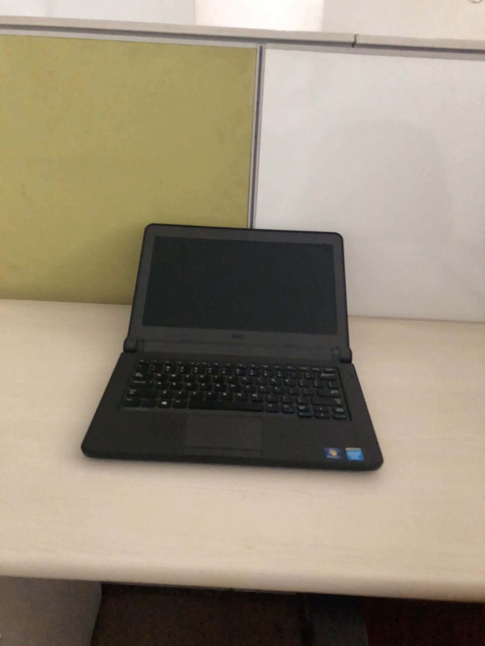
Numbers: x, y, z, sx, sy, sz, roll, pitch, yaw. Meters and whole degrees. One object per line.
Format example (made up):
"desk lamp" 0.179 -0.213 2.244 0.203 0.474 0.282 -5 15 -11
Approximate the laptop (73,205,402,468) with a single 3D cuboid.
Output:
"laptop" -0.003 -0.020 0.713 0.316 0.122 0.418 3 30 0
